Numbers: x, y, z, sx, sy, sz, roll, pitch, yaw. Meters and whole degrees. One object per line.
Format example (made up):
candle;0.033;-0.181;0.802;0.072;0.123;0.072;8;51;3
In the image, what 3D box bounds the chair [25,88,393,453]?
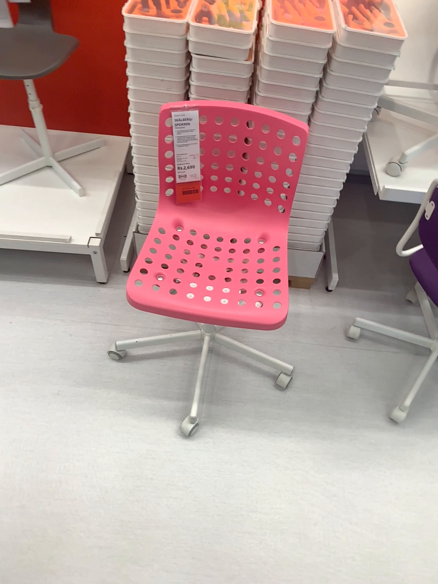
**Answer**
chair;-0.002;-0.050;1.288;0.670;0.688;0.692;8;50;2
